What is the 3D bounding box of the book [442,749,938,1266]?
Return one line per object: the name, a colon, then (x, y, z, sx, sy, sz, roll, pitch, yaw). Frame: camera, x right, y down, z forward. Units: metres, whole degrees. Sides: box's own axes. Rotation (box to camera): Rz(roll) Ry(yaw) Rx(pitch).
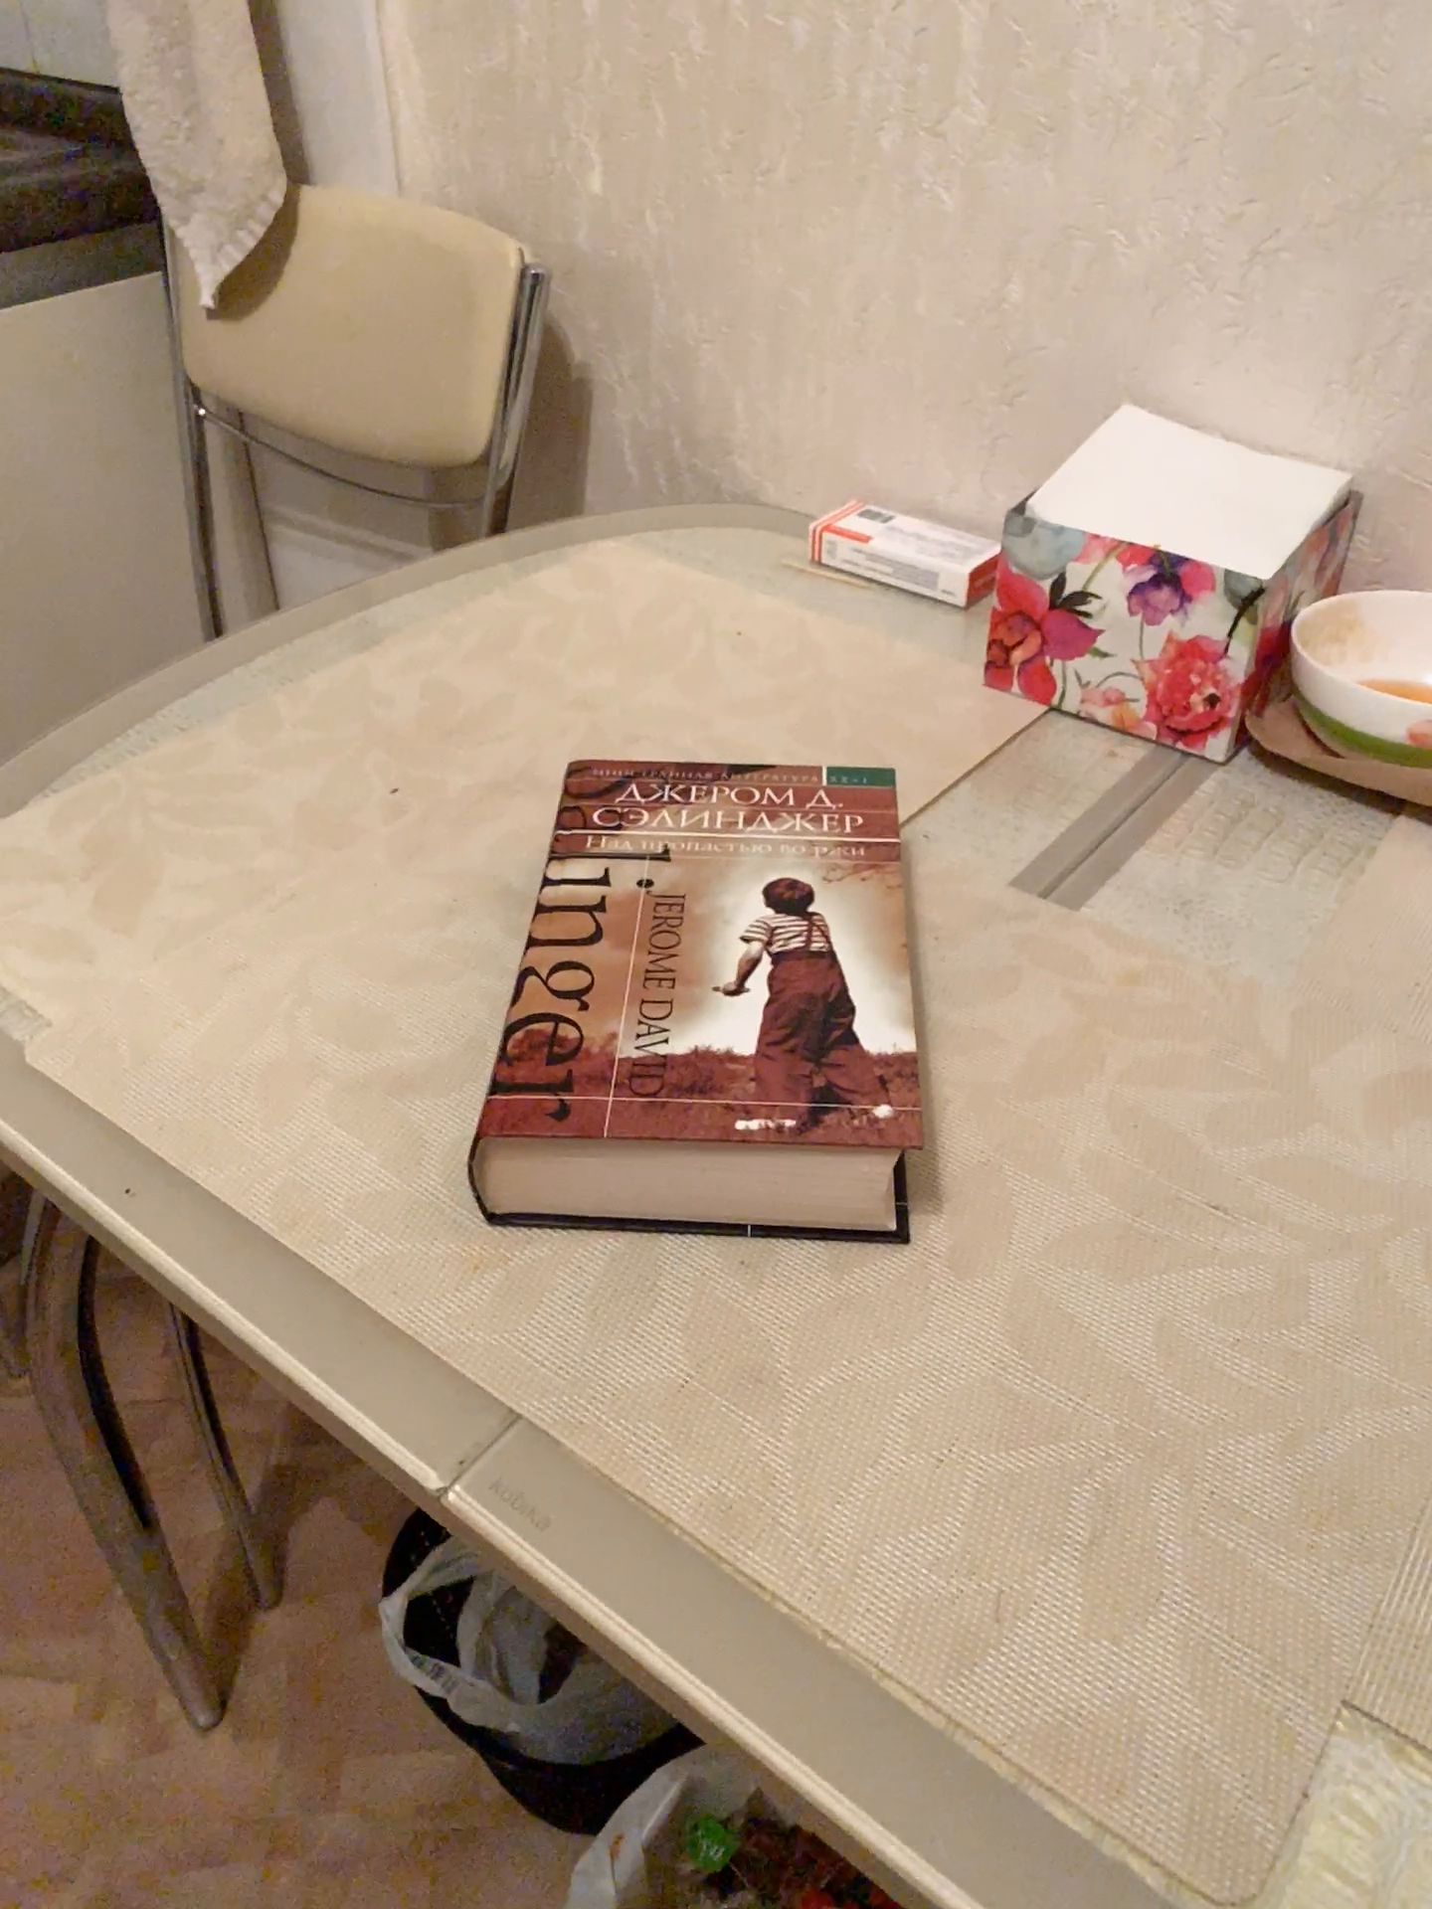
book: (-0.002, 0.007, 0.542, 0.150, 0.049, 0.222, 2, 40, 3)
